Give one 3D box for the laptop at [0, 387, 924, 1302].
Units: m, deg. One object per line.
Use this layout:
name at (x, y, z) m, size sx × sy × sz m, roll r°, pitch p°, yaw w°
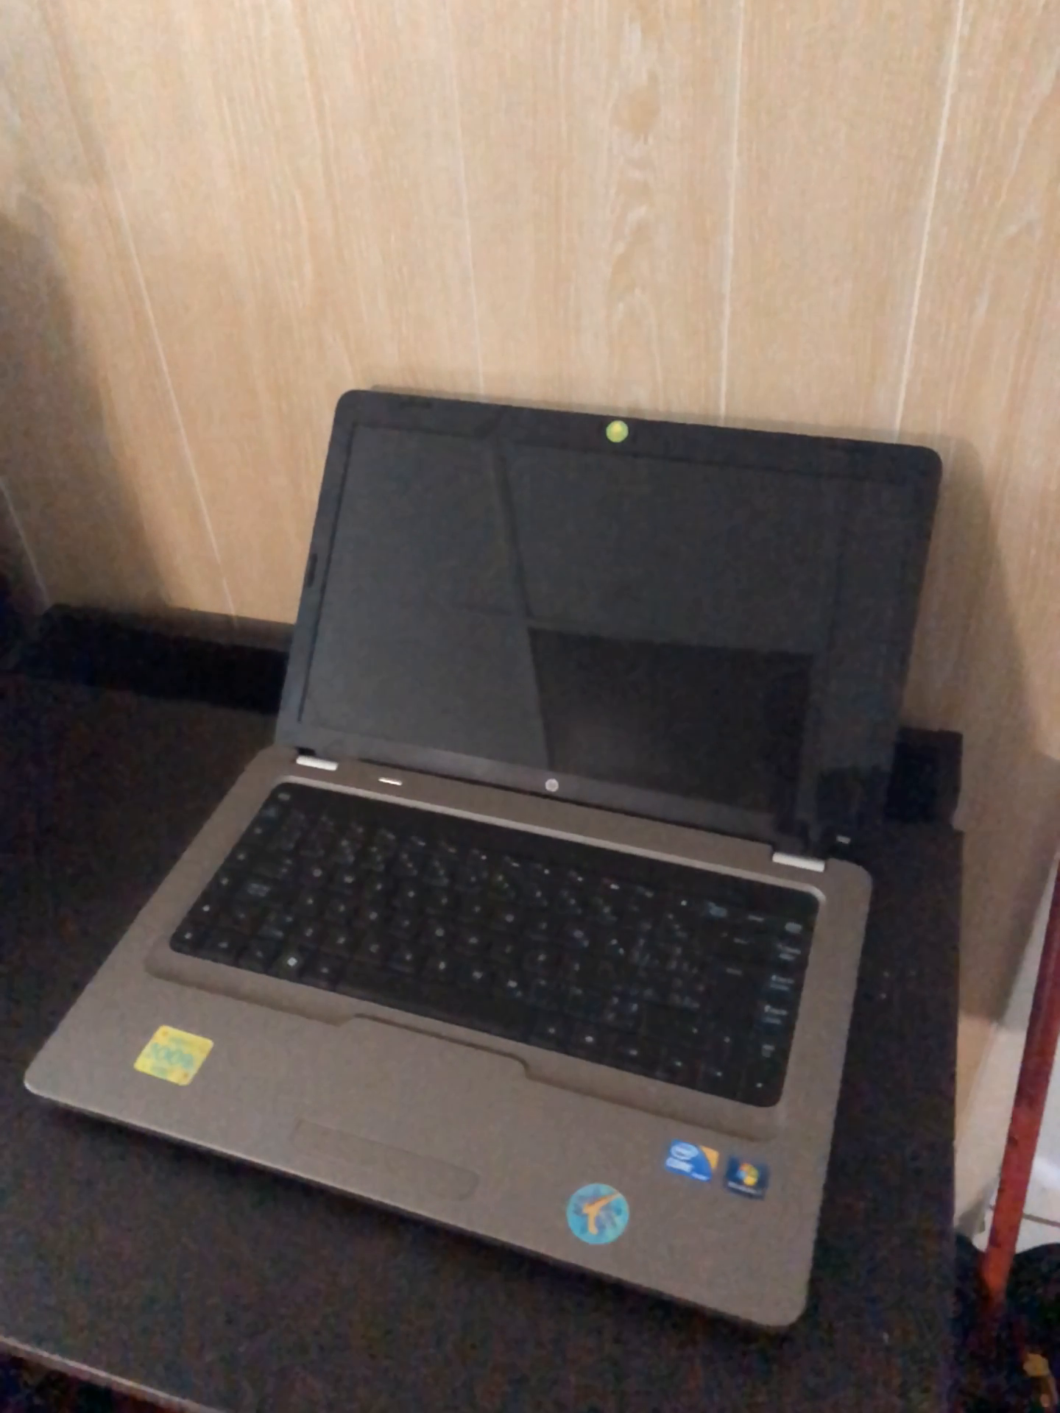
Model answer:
laptop at (-0.014, 0.013, 0.609) m, size 0.363 × 0.154 × 0.420 m, roll 10°, pitch 43°, yaw 17°
